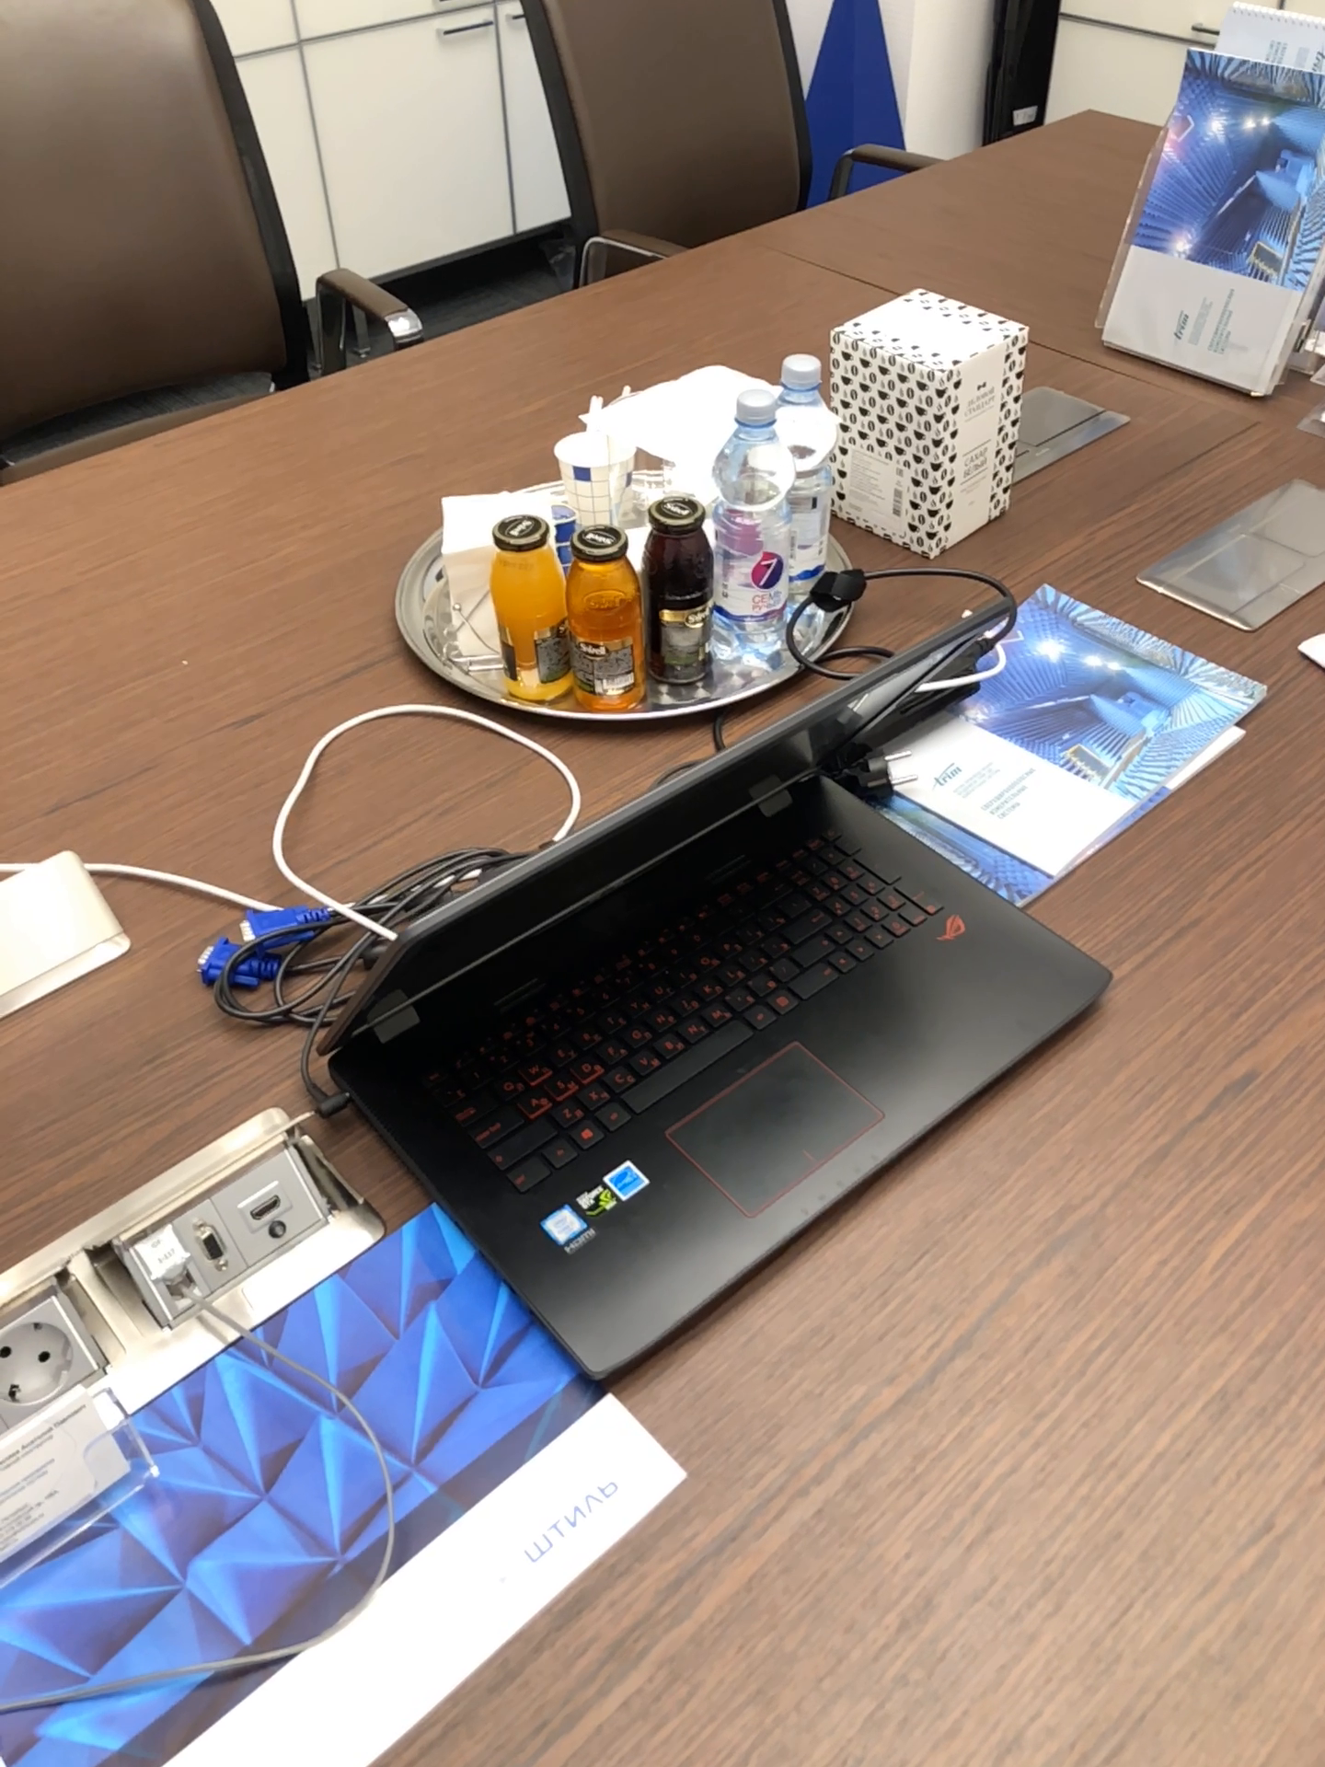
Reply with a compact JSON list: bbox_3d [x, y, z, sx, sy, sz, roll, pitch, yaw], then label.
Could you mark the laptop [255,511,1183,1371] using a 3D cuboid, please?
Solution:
[{"bbox_3d":[0.037,0.004,0.752,0.378,0.189,0.237,-30,51,-28],"label":"laptop"}]
